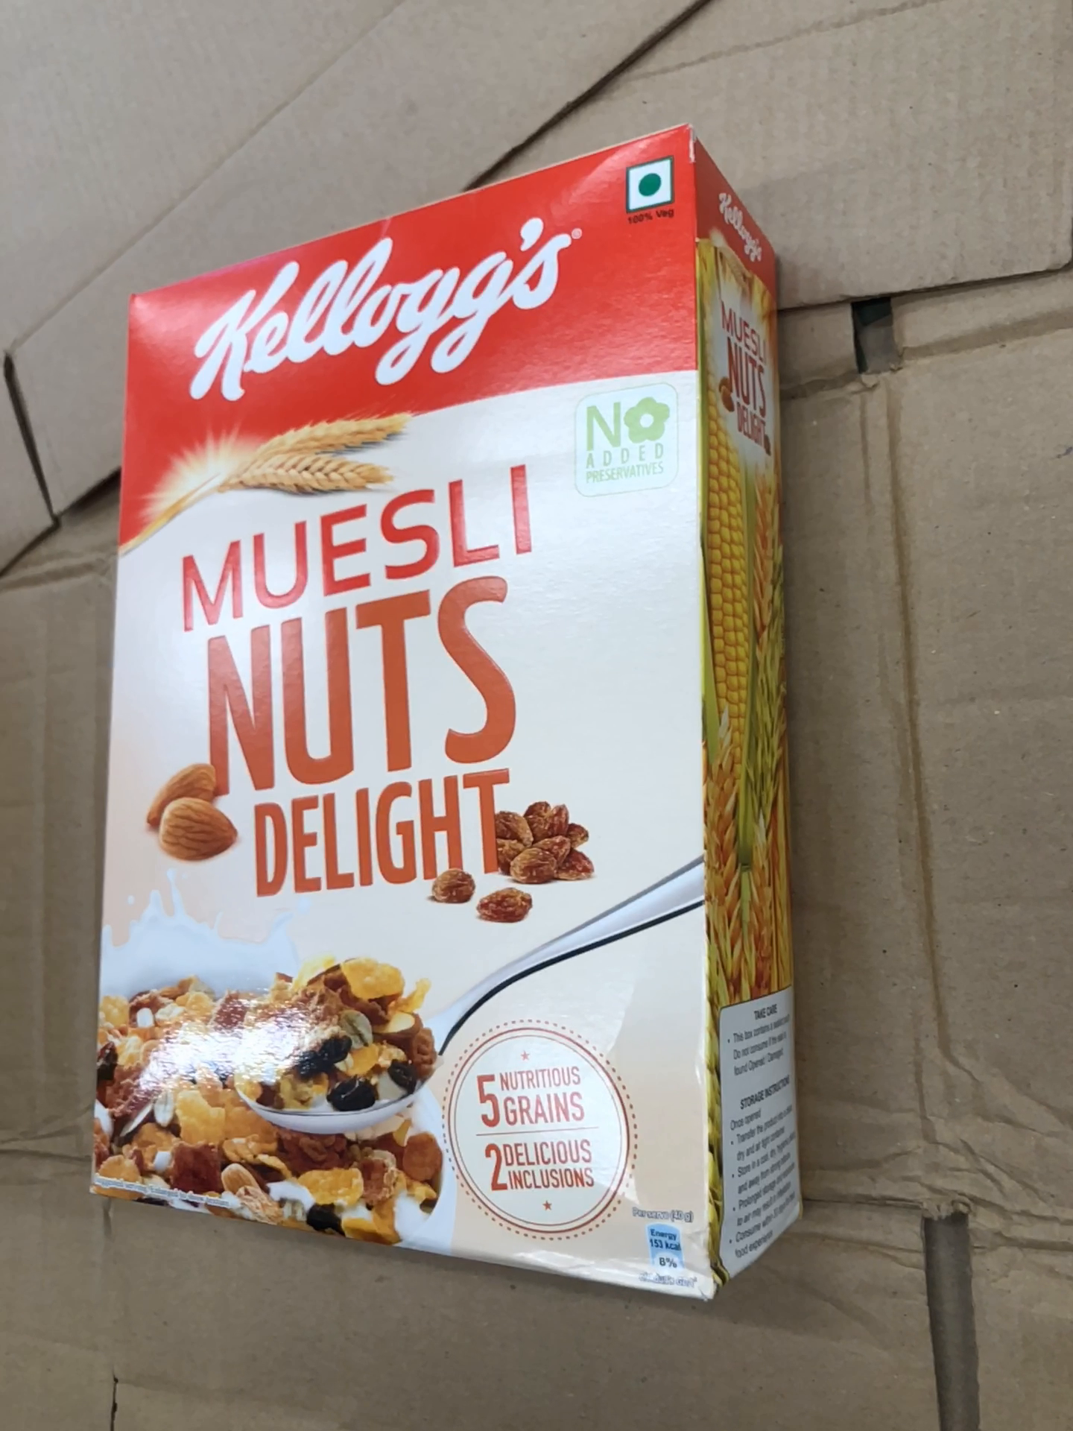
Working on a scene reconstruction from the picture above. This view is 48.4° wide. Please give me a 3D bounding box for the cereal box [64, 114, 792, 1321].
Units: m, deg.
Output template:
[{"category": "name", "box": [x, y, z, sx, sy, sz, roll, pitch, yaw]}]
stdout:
[{"category": "cereal box", "box": [-0.030, 0.000, 0.328, 0.180, 0.070, 0.260, -3, 82, 28]}]
